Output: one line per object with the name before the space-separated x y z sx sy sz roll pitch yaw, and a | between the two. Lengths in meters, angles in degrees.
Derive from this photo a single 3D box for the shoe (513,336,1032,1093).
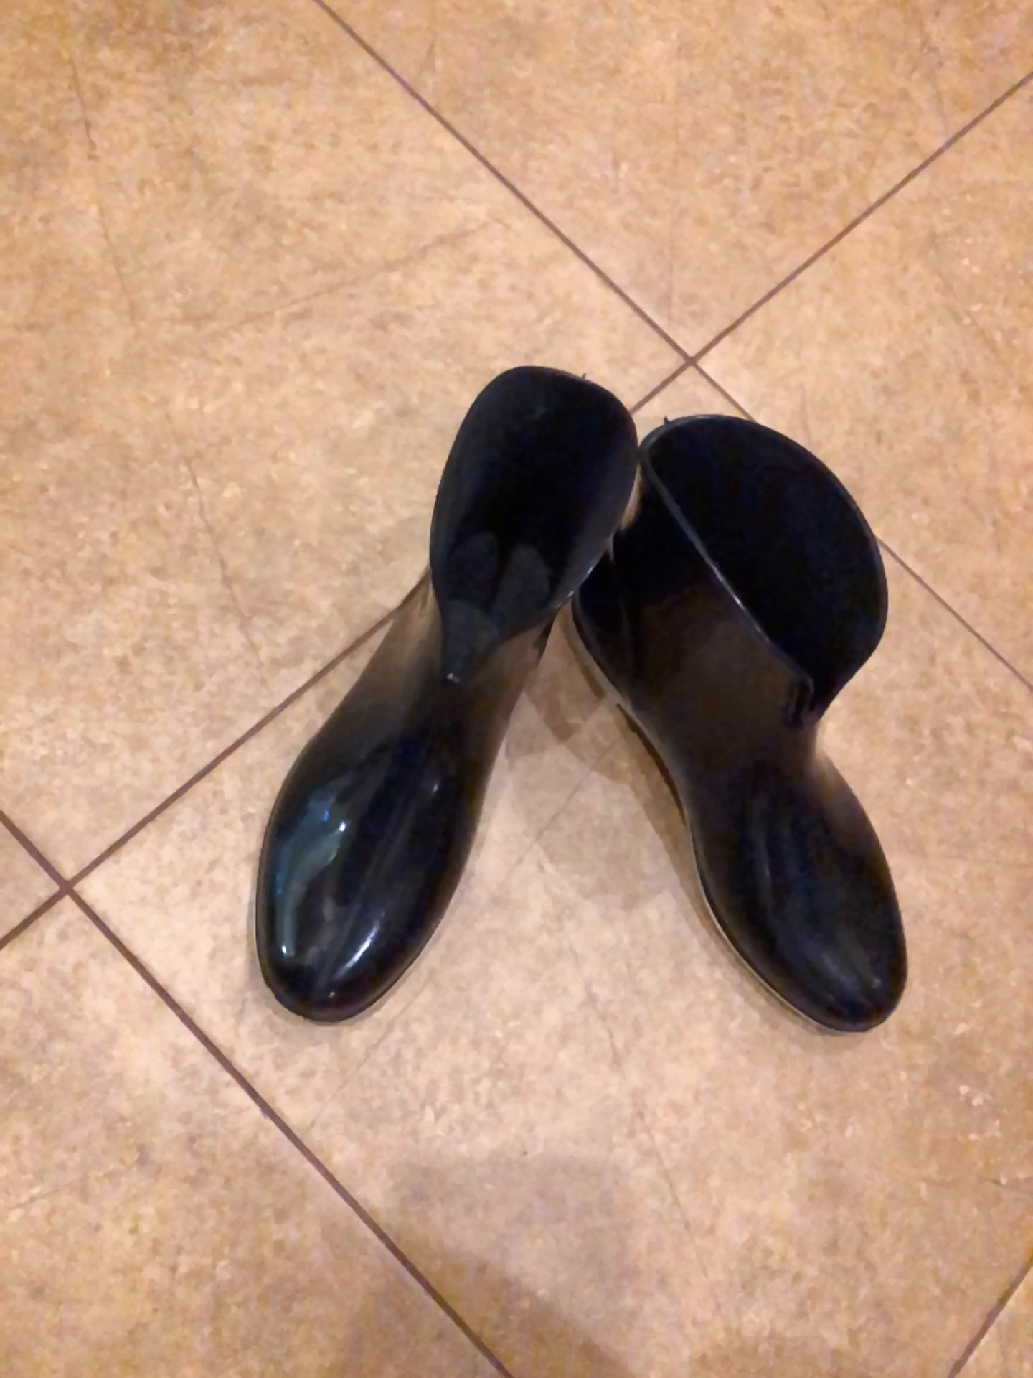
shoe | 0.109 0.022 0.448 0.090 0.170 0.240 -26 79 -17

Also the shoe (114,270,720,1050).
shoe | -0.034 0.002 0.431 0.090 0.170 0.241 26 70 -1
